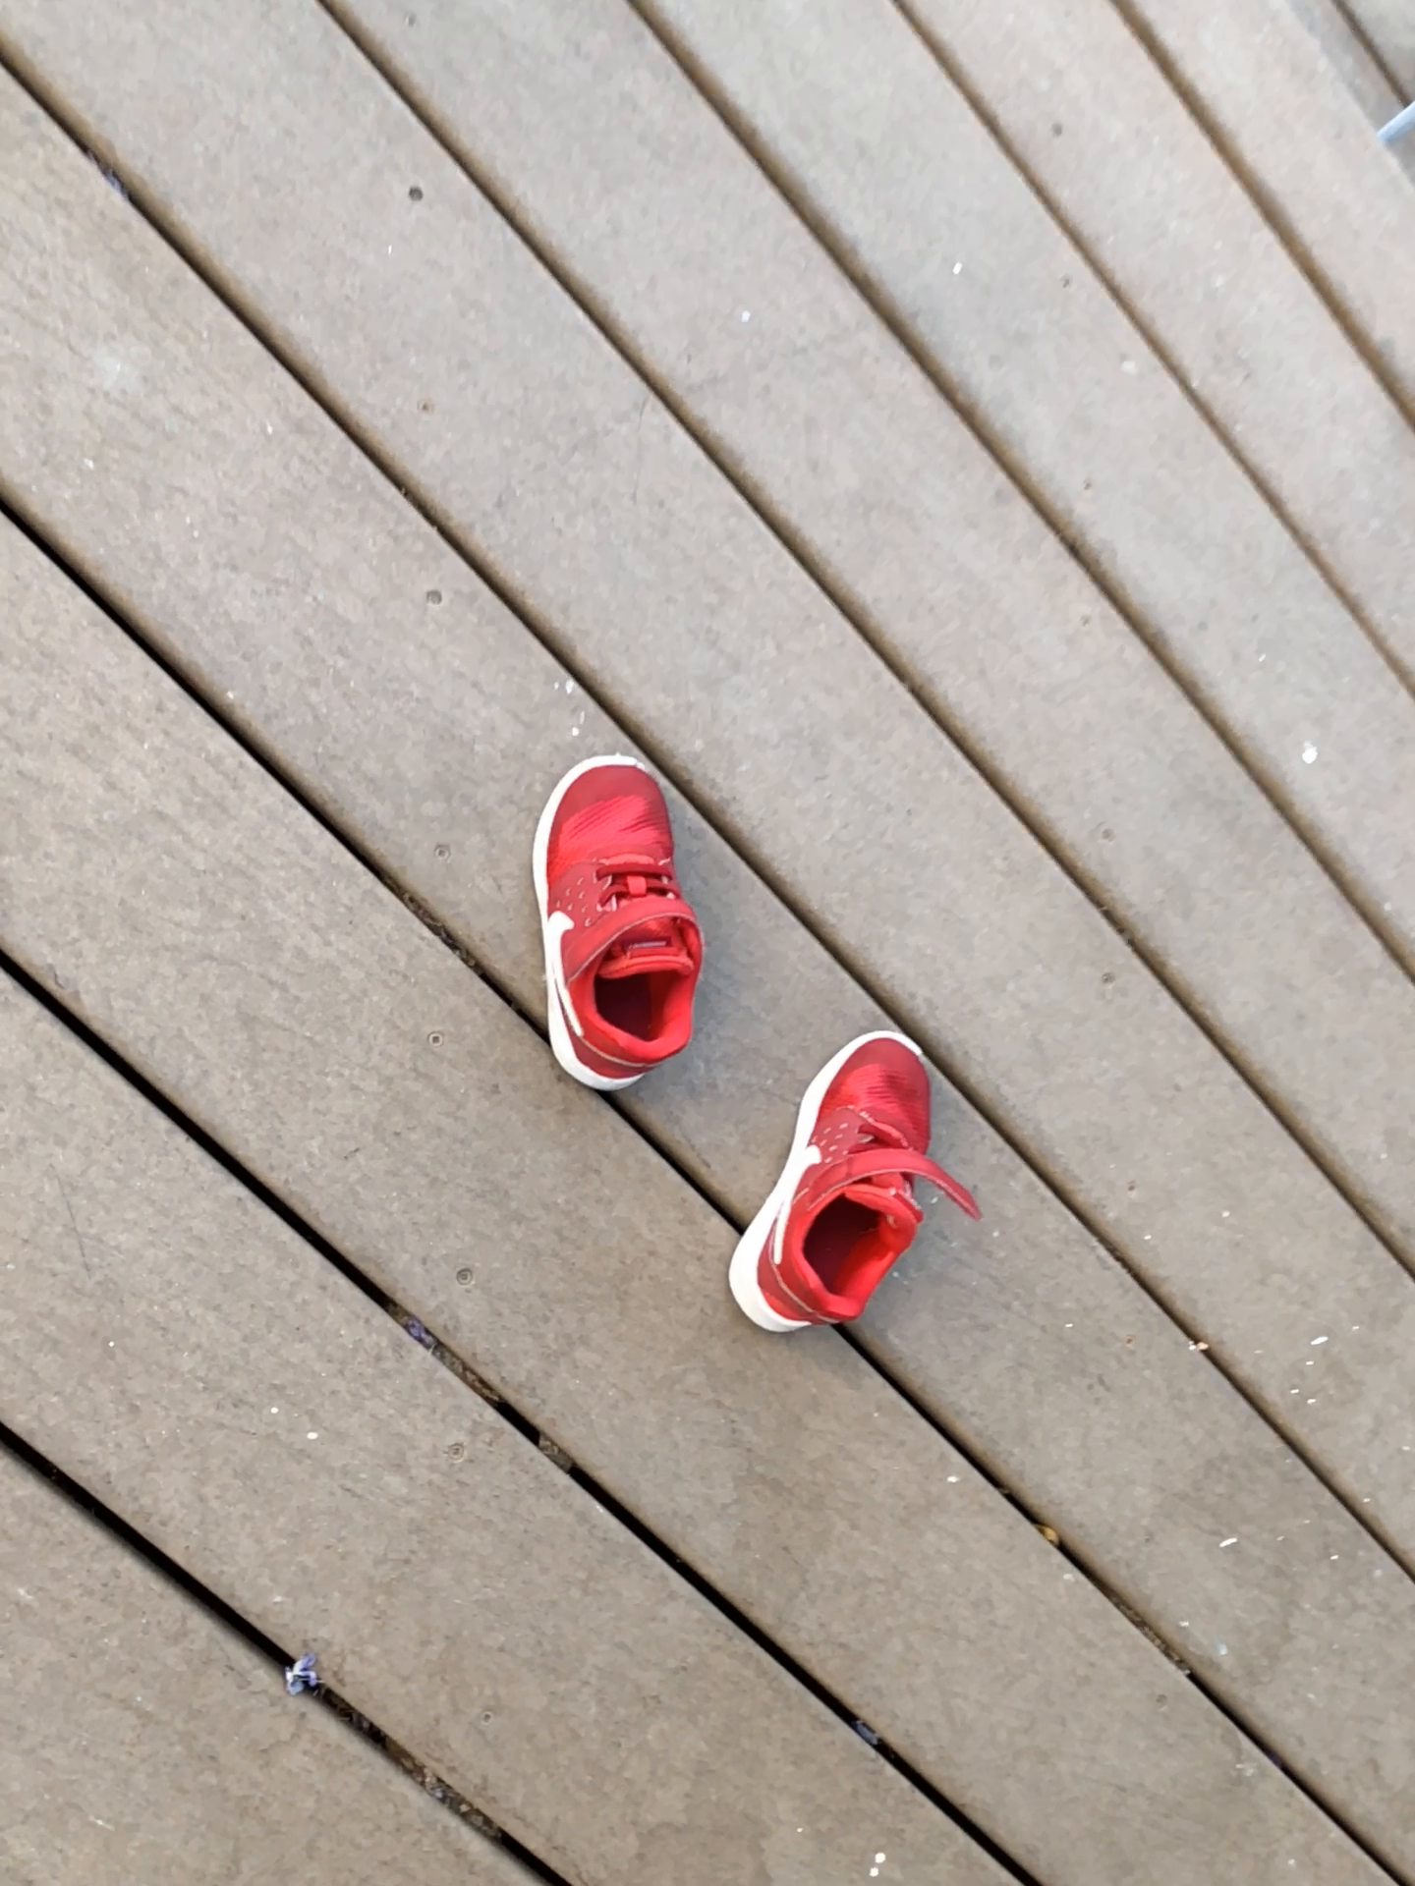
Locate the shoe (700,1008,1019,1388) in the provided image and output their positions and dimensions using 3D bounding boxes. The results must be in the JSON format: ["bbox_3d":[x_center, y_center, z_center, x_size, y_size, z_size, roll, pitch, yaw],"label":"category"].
[{"bbox_3d":[0.075,0.122,0.768,0.069,0.069,0.164,34,72,-18],"label":"shoe"}]

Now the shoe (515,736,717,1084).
[{"bbox_3d":[-0.043,-0.011,0.728,0.073,0.069,0.153,3,84,-25],"label":"shoe"}]
